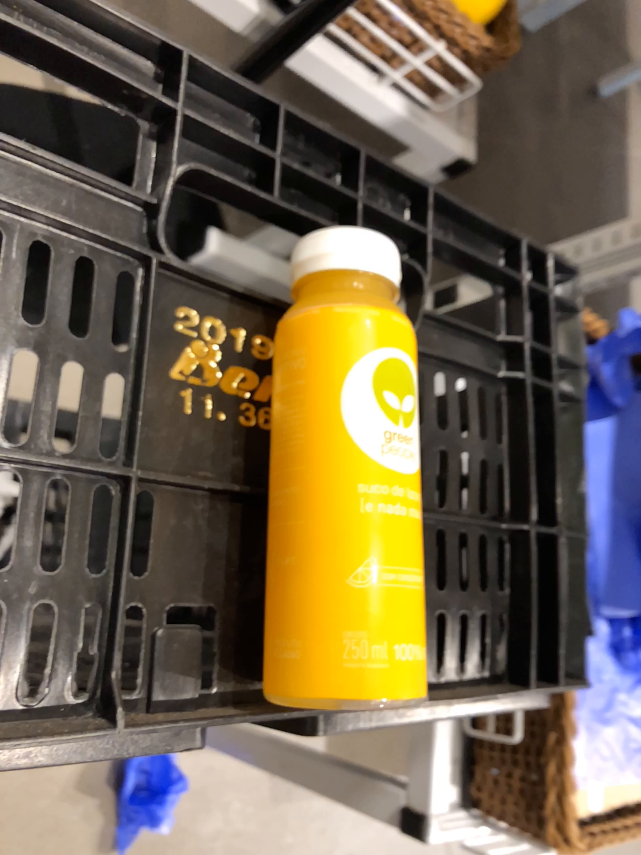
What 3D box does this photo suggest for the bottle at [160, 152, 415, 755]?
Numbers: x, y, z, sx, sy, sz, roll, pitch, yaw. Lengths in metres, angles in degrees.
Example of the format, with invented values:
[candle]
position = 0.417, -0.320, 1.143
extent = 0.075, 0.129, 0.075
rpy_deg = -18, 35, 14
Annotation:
[bottle]
position = -0.010, 0.008, 0.246
extent = 0.060, 0.050, 0.180
rpy_deg = 13, 69, -38
